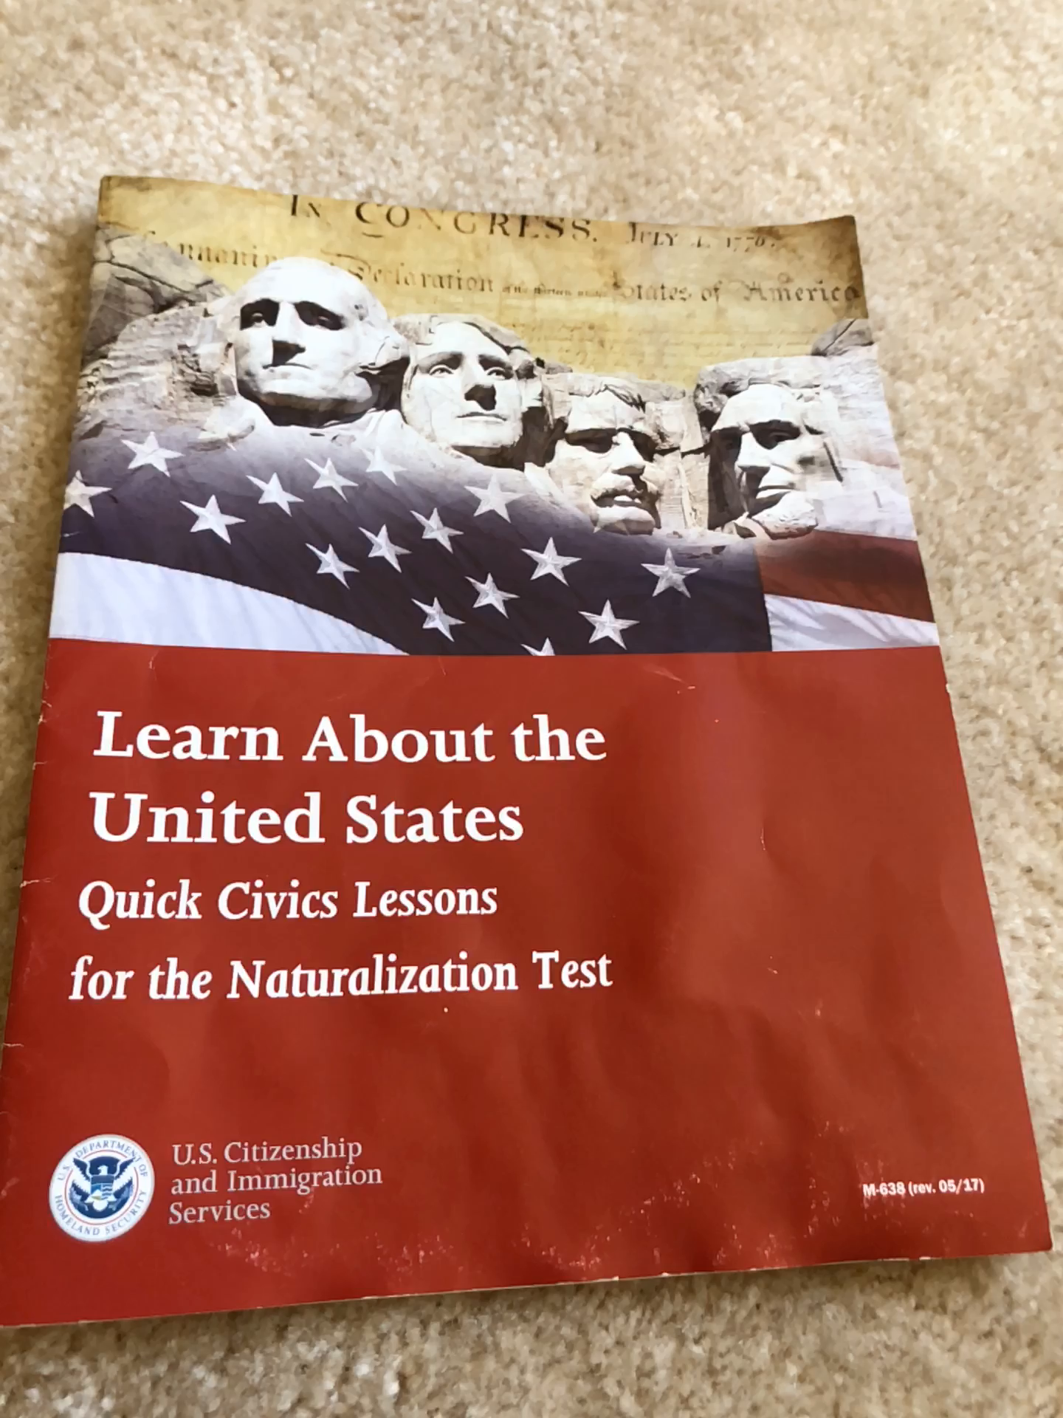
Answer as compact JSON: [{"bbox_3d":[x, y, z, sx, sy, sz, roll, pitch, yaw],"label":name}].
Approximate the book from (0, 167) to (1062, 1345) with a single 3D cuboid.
[{"bbox_3d":[-0.006,-0.012,0.284,0.208,0.028,0.274,0,67,-8],"label":"book"}]
